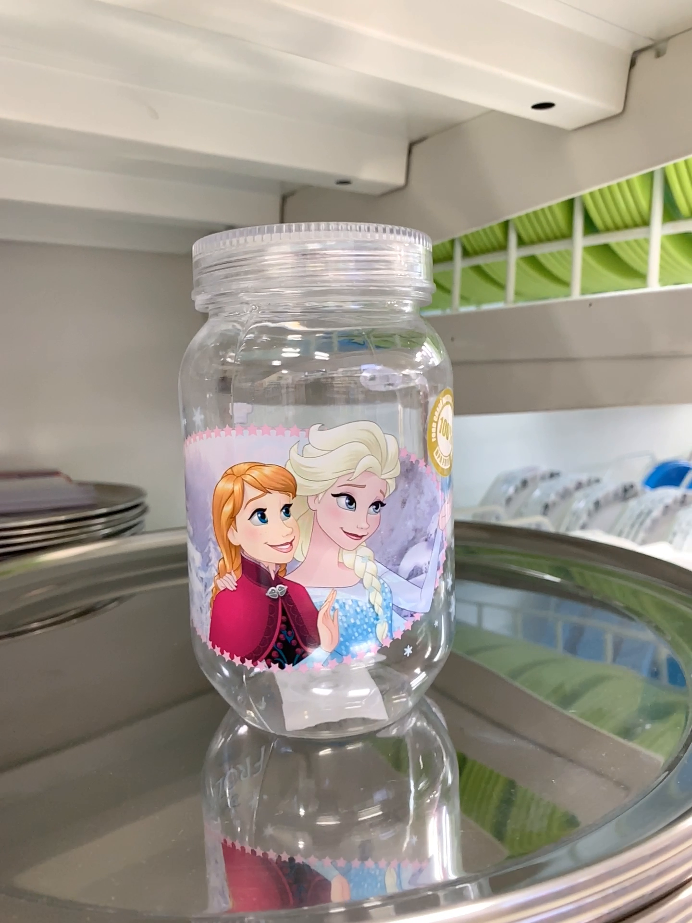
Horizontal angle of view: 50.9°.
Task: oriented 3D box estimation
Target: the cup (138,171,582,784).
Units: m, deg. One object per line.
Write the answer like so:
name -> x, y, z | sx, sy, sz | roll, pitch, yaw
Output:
cup -> 0.012, -0.002, 0.221 | 0.070, 0.130, 0.120 | 4, 8, 41
